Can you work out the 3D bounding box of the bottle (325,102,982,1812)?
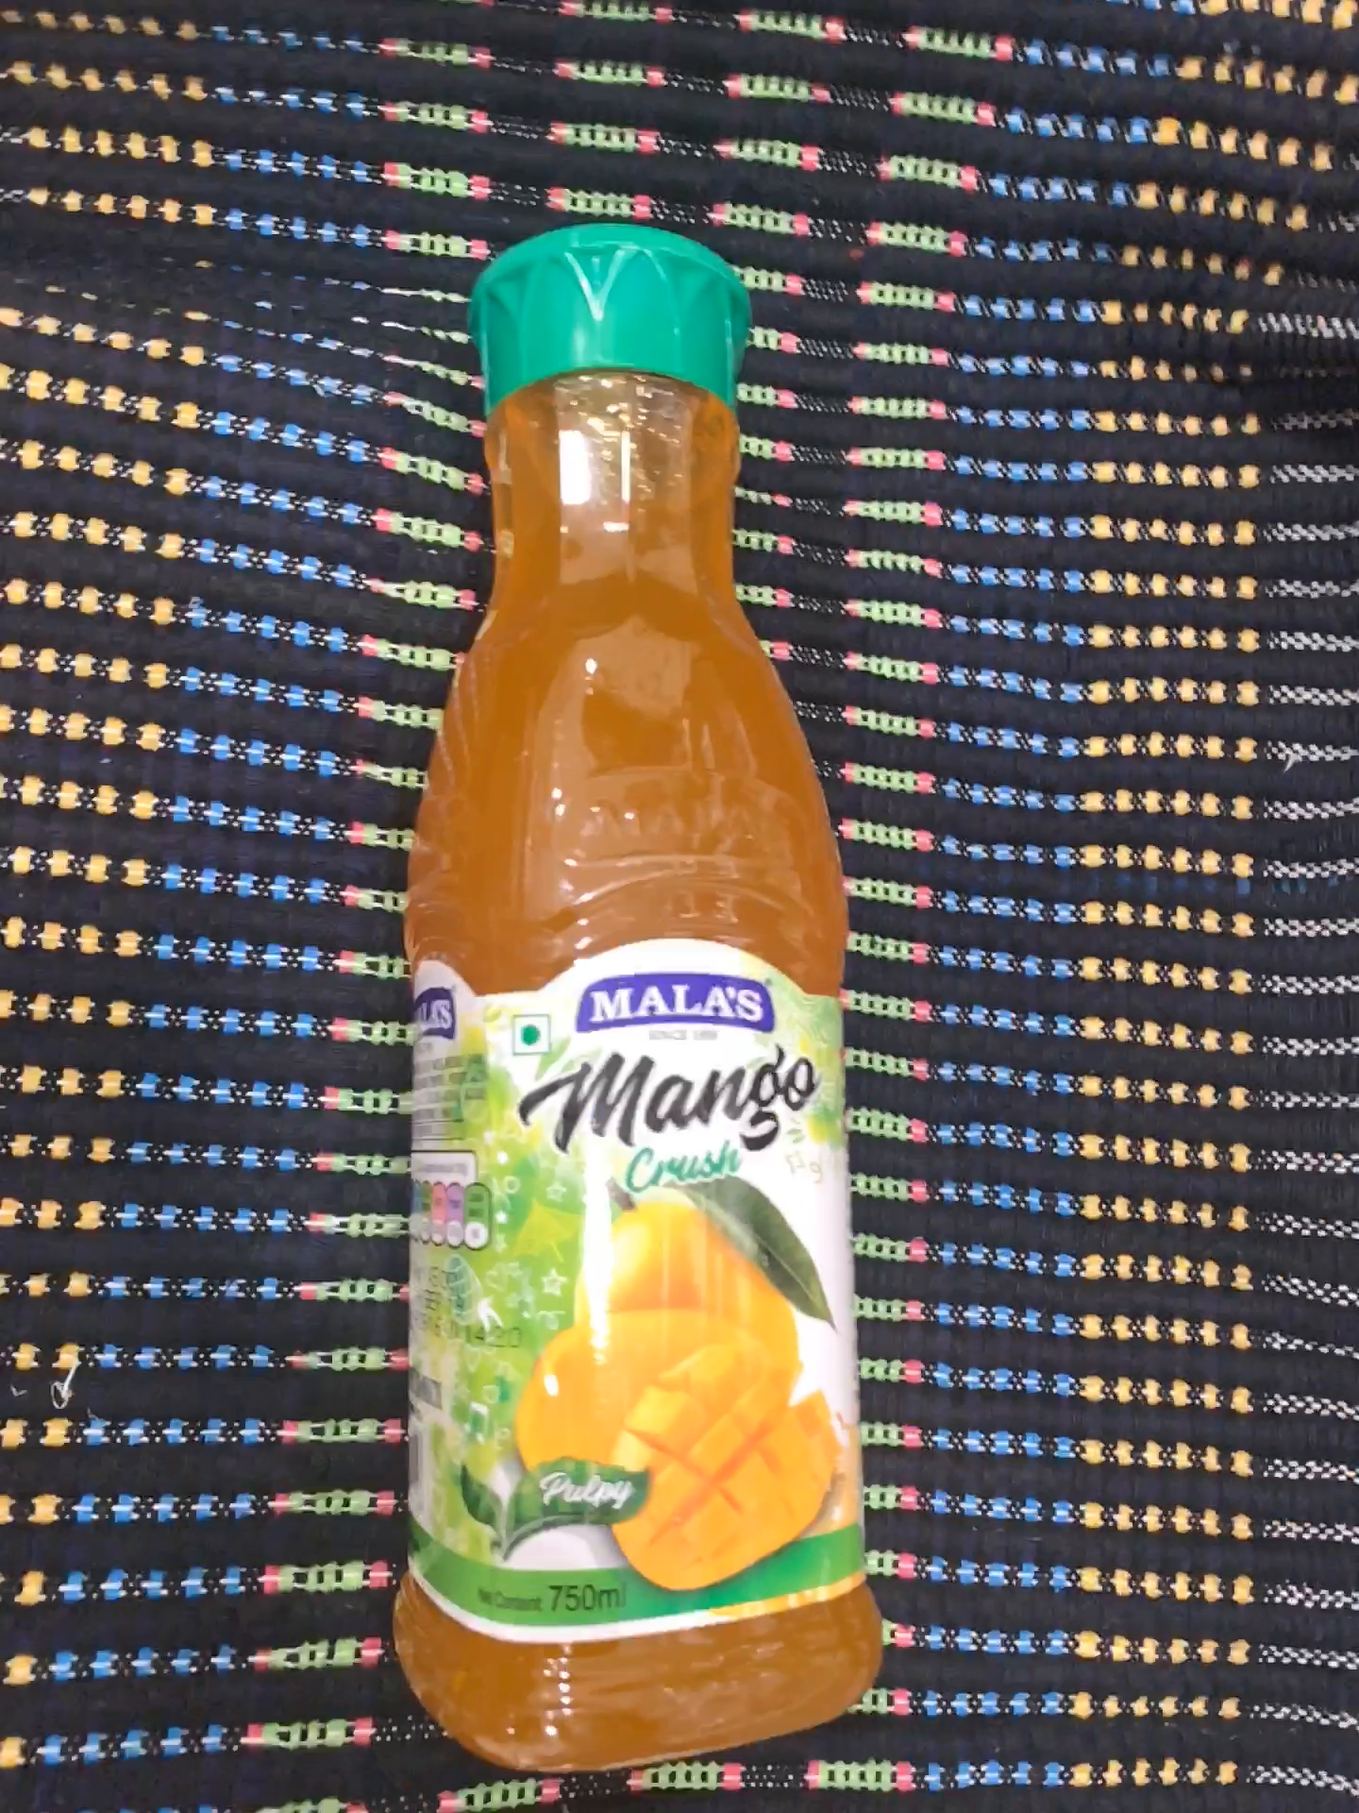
[{"bbox_3d":[-0.015,0.004,0.248,0.080,0.090,0.240,2,78,-20],"label":"bottle"}]
